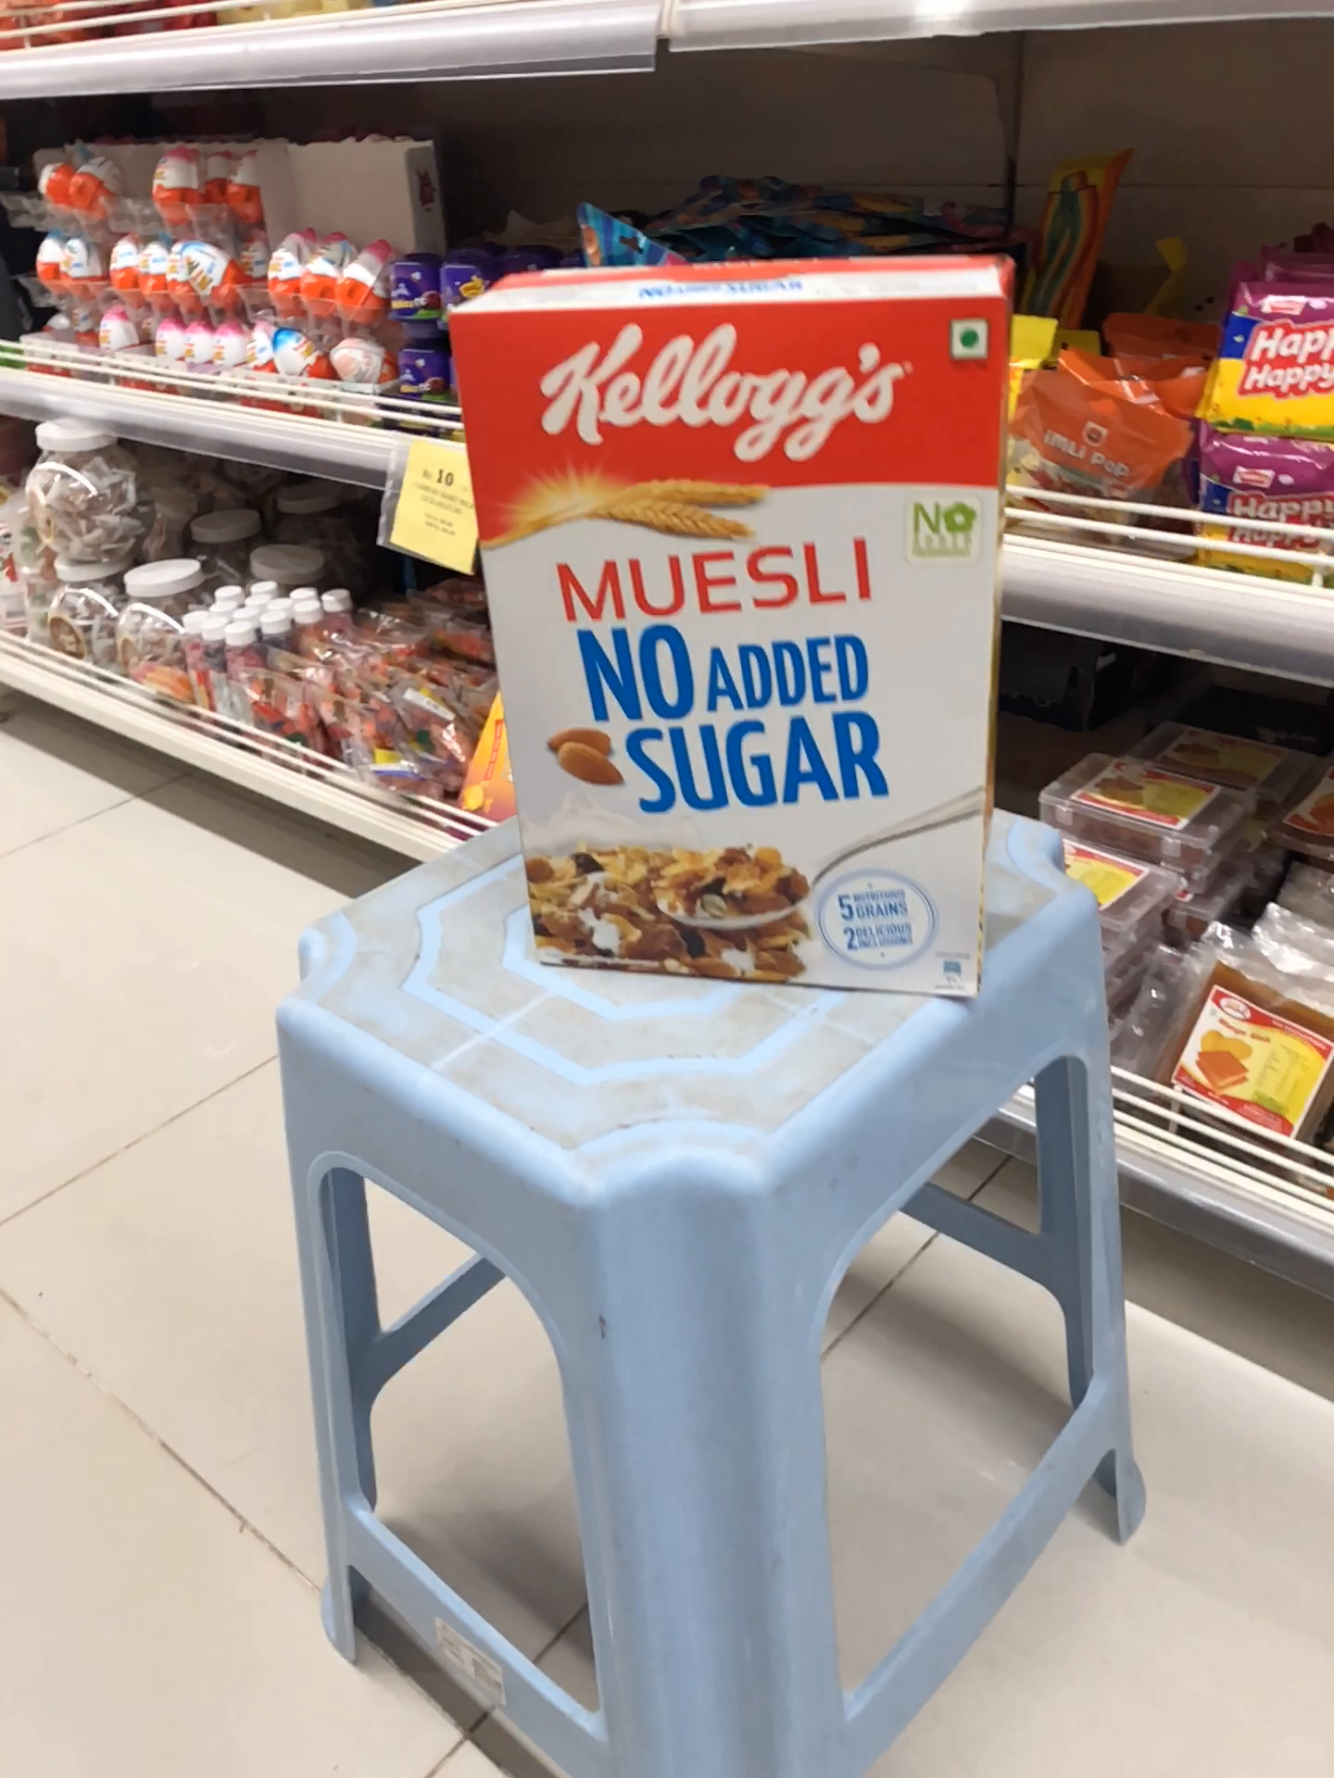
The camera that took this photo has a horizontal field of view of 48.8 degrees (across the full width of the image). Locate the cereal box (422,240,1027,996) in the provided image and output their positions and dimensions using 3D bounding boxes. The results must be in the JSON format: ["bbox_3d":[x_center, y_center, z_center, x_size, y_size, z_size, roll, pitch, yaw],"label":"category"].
[{"bbox_3d":[0.030,-0.093,0.552,0.190,0.259,0.070,3,31,13],"label":"cereal box"}]
